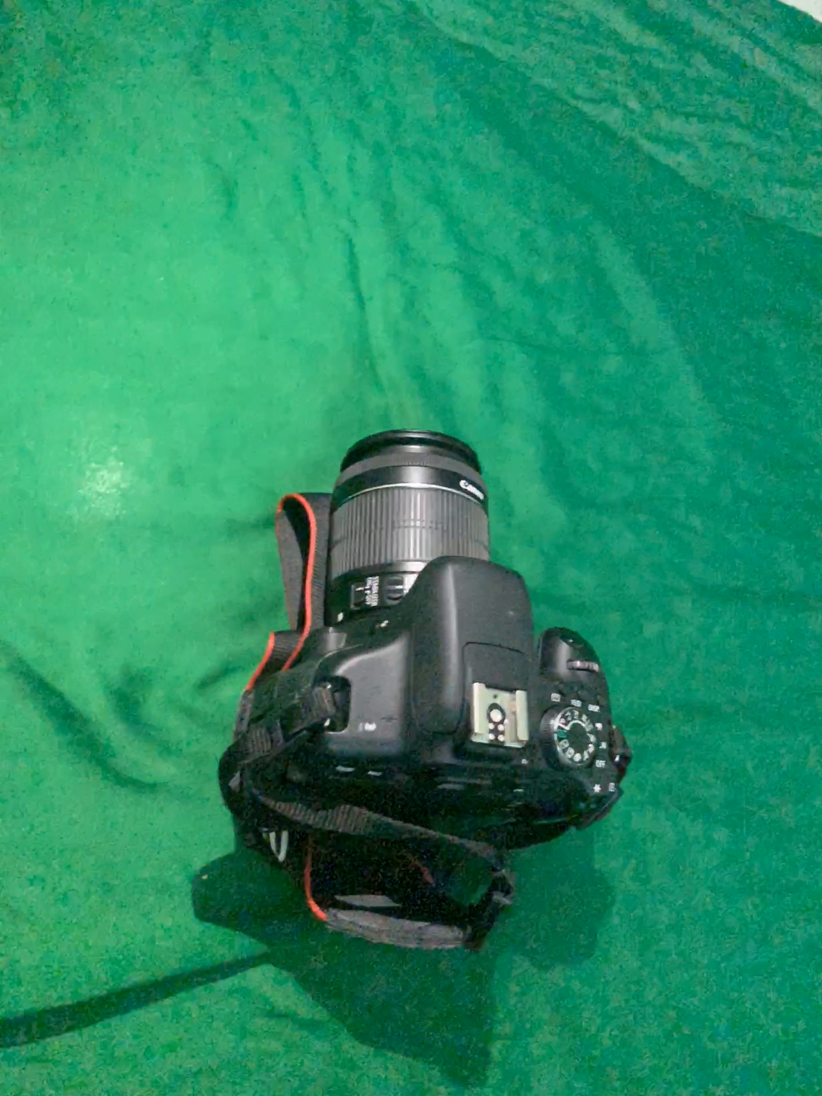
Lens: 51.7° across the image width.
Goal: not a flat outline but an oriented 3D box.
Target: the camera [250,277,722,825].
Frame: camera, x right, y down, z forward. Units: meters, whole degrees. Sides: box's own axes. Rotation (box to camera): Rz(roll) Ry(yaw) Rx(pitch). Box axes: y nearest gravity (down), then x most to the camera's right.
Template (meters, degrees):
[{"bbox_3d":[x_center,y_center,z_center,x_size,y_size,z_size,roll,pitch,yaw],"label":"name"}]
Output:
[{"bbox_3d":[0.027,0.014,0.360,0.152,0.100,0.191,10,69,-23],"label":"camera"}]
